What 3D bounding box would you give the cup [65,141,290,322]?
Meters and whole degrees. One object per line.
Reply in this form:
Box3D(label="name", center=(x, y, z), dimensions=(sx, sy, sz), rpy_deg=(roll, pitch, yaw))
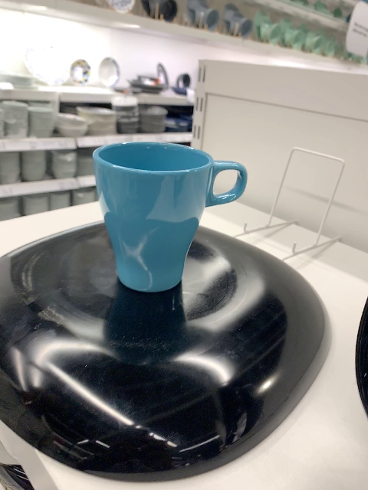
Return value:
Box3D(label="cup", center=(-0.013, -0.021, 0.307), dimensions=(0.140, 0.100, 0.100), rpy_deg=(-6, 27, -25))
